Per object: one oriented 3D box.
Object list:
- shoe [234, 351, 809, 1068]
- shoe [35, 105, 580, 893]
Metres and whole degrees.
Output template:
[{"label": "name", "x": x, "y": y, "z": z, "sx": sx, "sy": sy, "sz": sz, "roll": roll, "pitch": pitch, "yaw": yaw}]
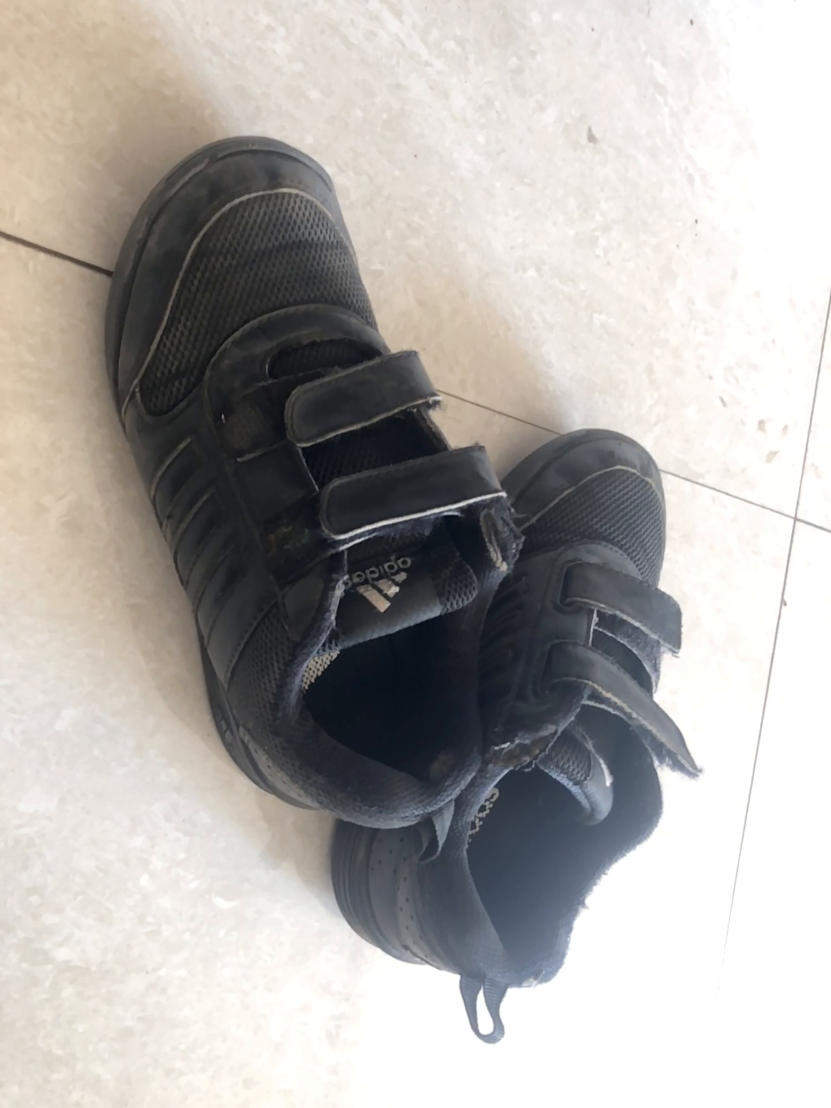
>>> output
[{"label": "shoe", "x": 0.043, "y": 0.049, "z": 0.352, "sx": 0.100, "sy": 0.100, "sz": 0.220, "roll": 34, "pitch": 74, "yaw": -29}, {"label": "shoe", "x": -0.031, "y": -0.020, "z": 0.290, "sx": 0.100, "sy": 0.080, "sz": 0.200, "roll": -20, "pitch": 102, "yaw": -30}]
